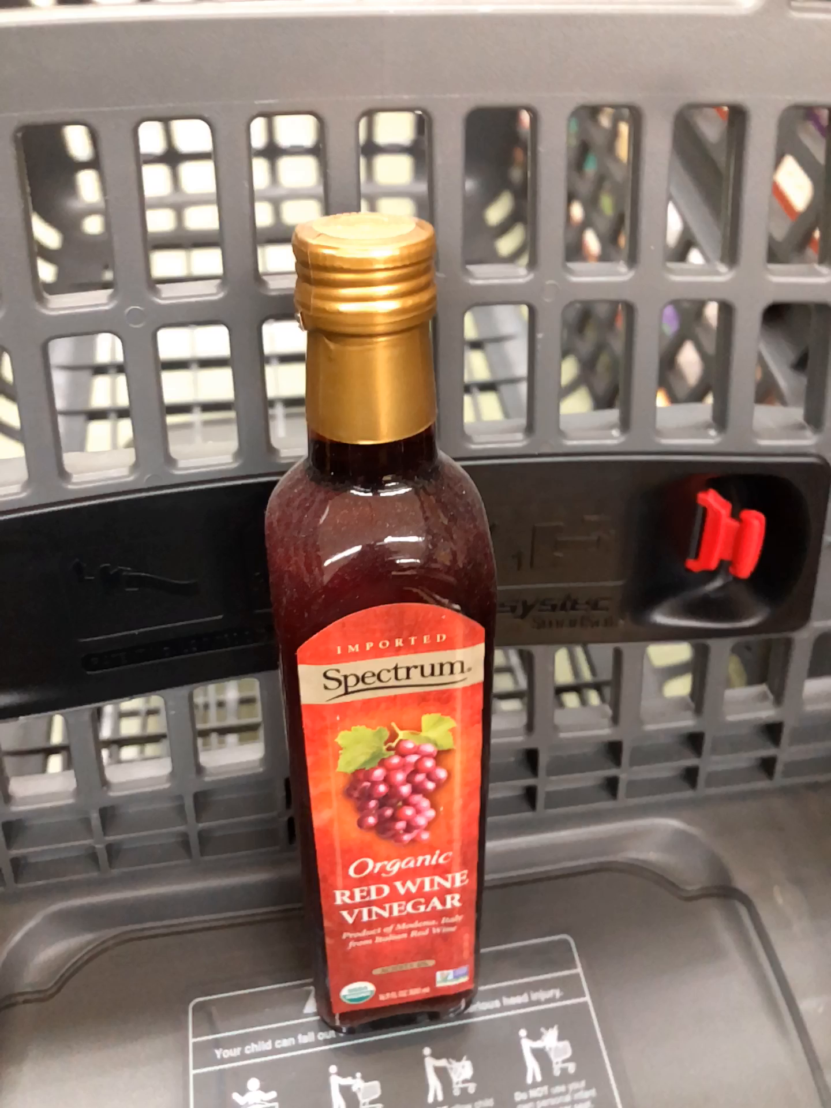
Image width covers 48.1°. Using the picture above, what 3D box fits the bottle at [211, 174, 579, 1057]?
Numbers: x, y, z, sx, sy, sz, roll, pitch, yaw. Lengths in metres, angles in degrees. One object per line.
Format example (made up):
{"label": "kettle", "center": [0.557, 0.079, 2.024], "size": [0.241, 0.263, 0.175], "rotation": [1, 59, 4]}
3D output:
{"label": "bottle", "center": [-0.008, 0.038, 0.279], "size": [0.070, 0.270, 0.070], "rotation": [0, 34, 0]}
